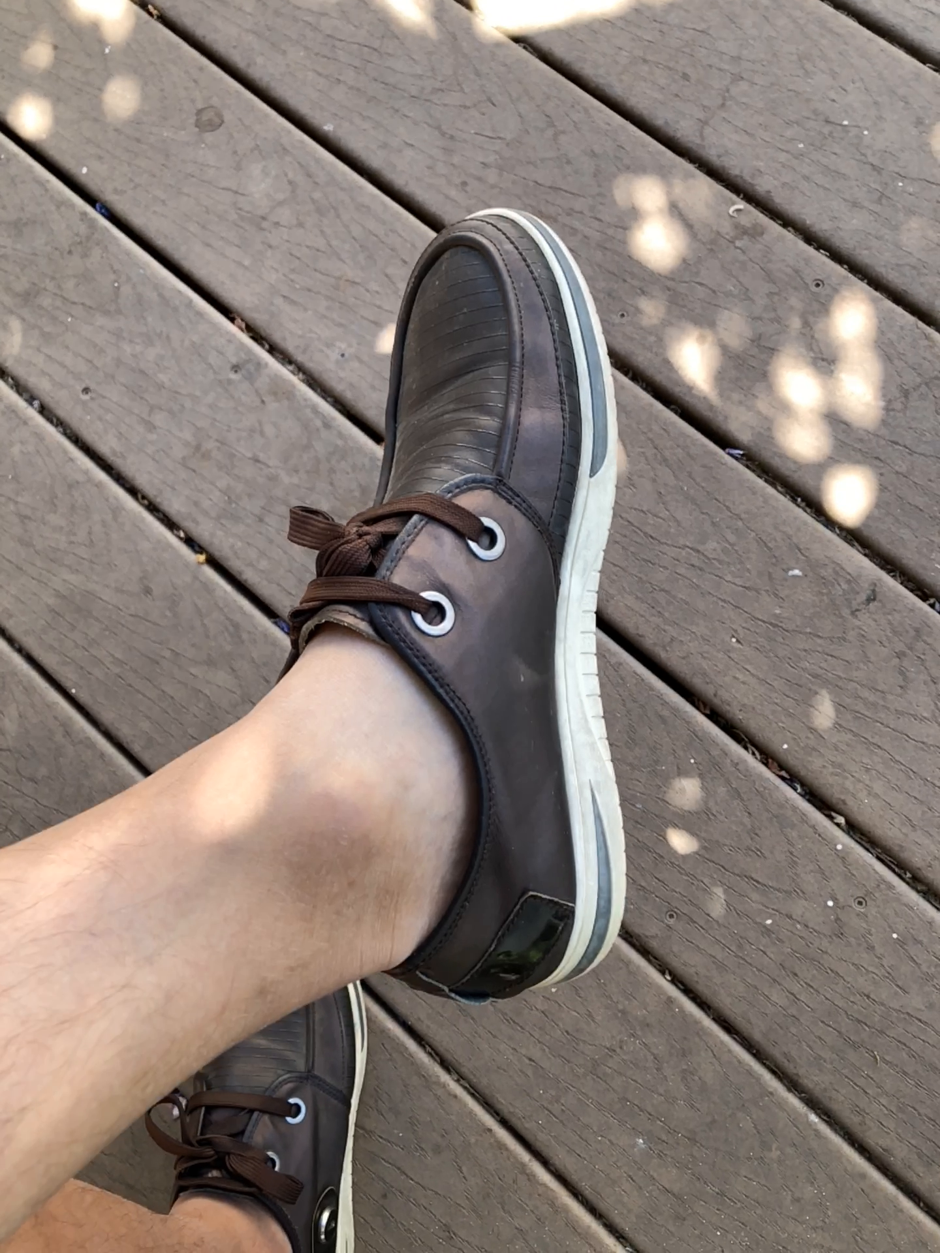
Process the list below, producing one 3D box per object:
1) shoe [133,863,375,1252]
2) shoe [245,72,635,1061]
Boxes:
[{"bbox_3d":[-0.121,0.273,0.611,0.103,0.099,0.245,1,86,9],"label":"shoe"},{"bbox_3d":[-0.013,-0.015,0.327,0.090,0.083,0.255,-5,84,53],"label":"shoe"}]
